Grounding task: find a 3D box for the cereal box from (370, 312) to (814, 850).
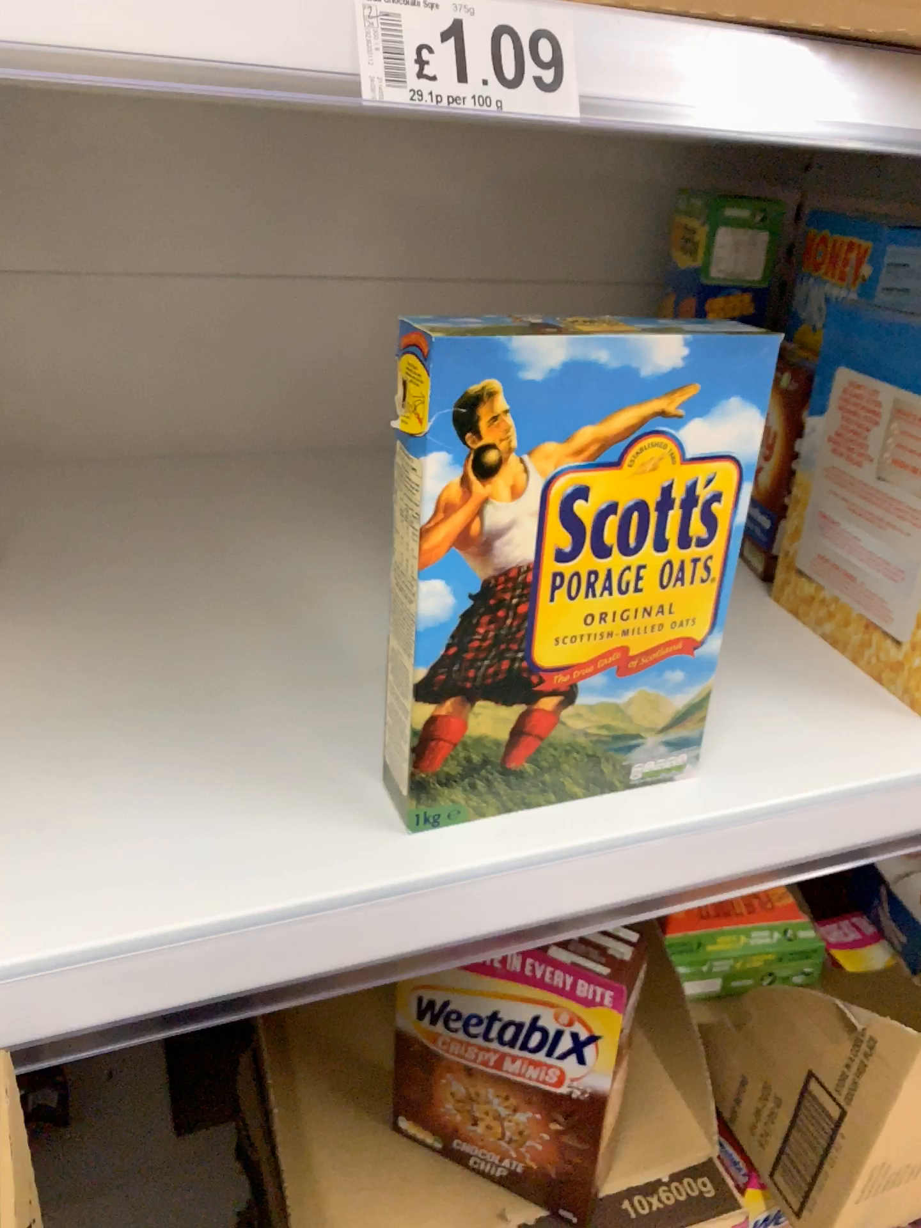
[{"bbox_3d":[0.061,-0.020,0.521,0.200,0.268,0.070,-7,28,-22],"label":"cereal box"}]
